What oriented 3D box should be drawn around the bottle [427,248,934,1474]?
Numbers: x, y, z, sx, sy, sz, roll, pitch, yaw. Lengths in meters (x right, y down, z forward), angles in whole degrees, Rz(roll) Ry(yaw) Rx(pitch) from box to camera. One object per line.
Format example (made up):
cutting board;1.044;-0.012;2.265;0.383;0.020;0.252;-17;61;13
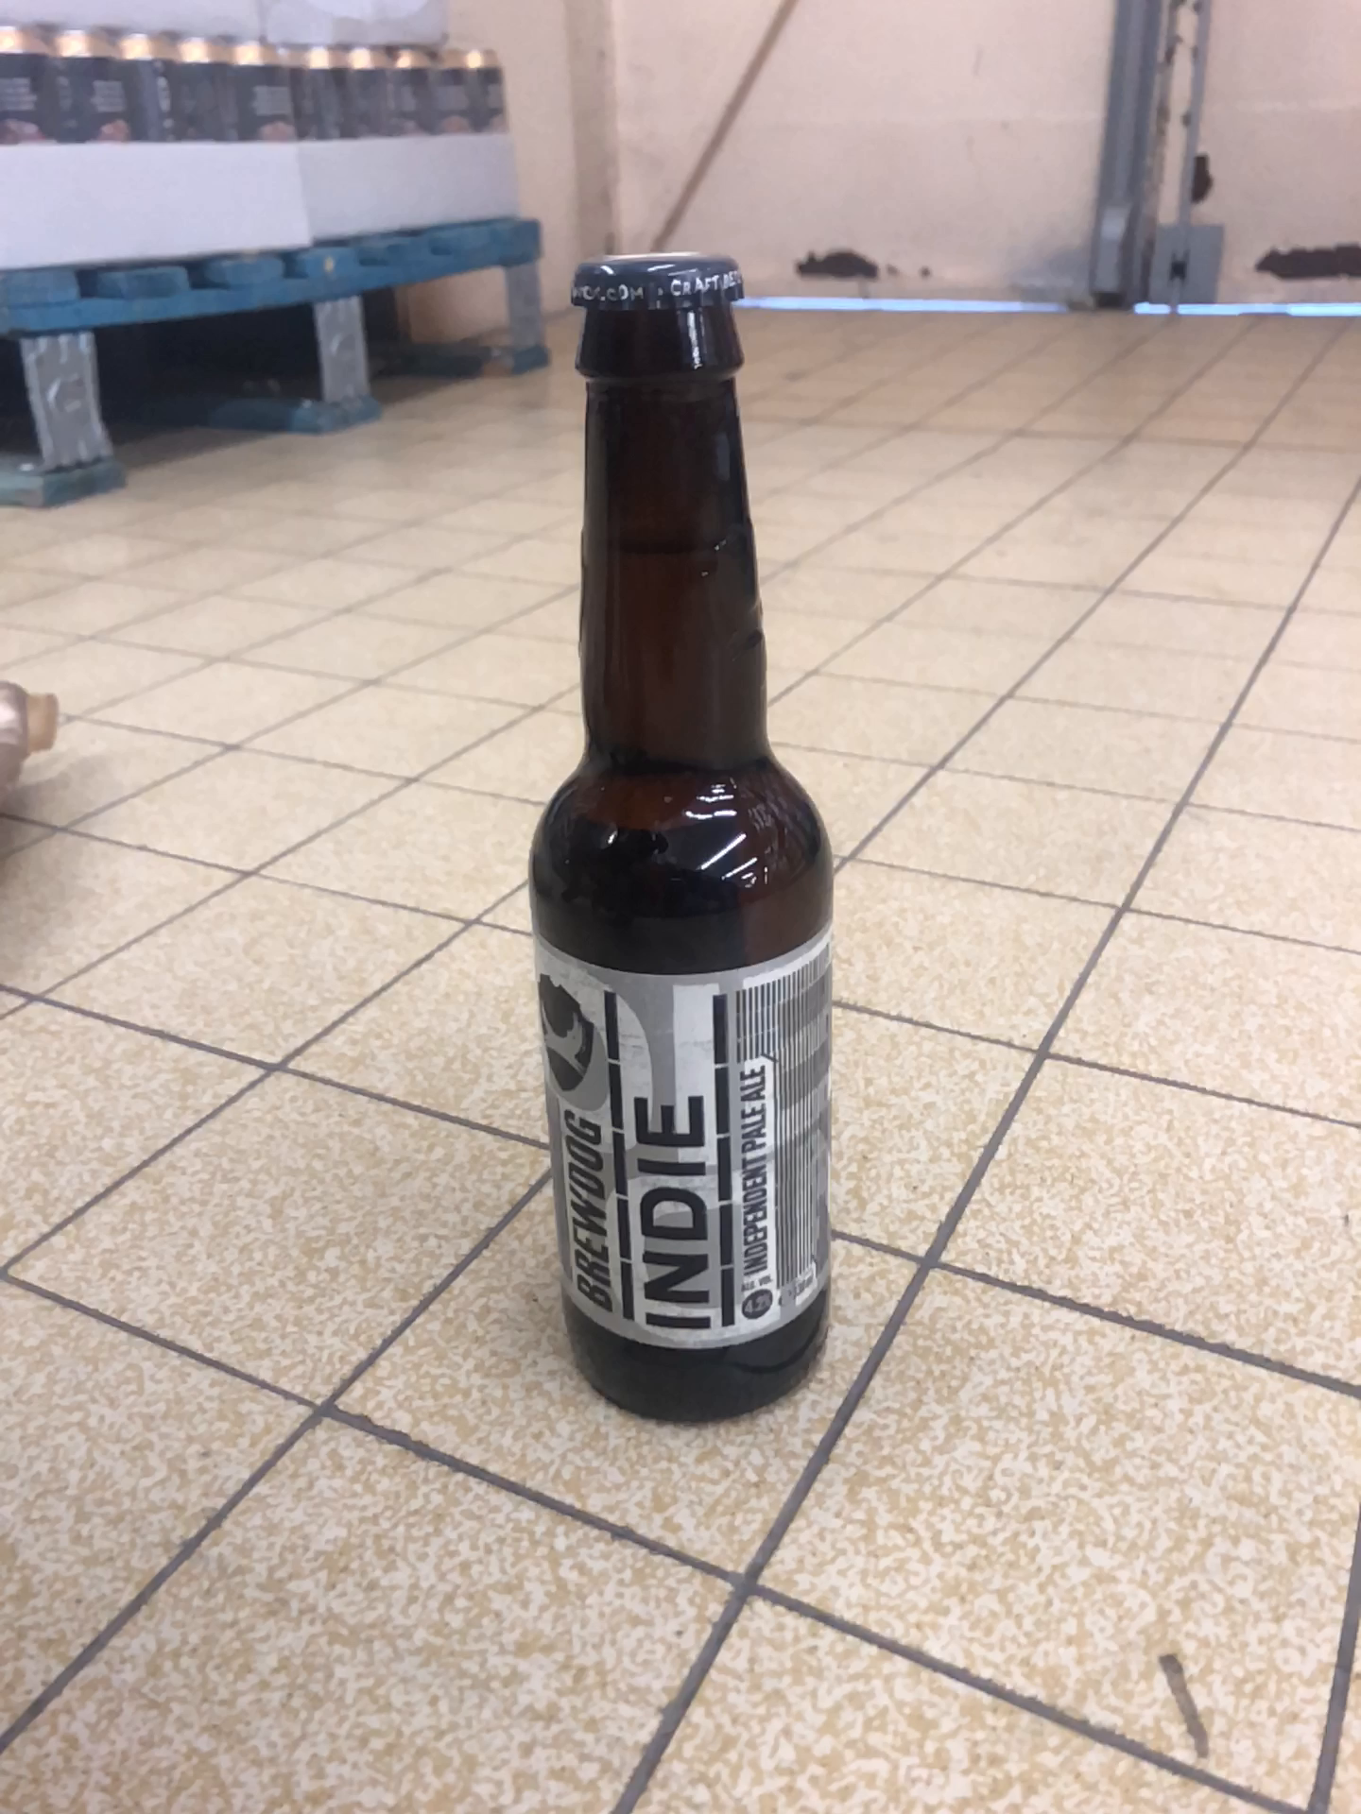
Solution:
bottle;0.008;-0.004;0.291;0.070;0.222;0.070;-2;26;1
